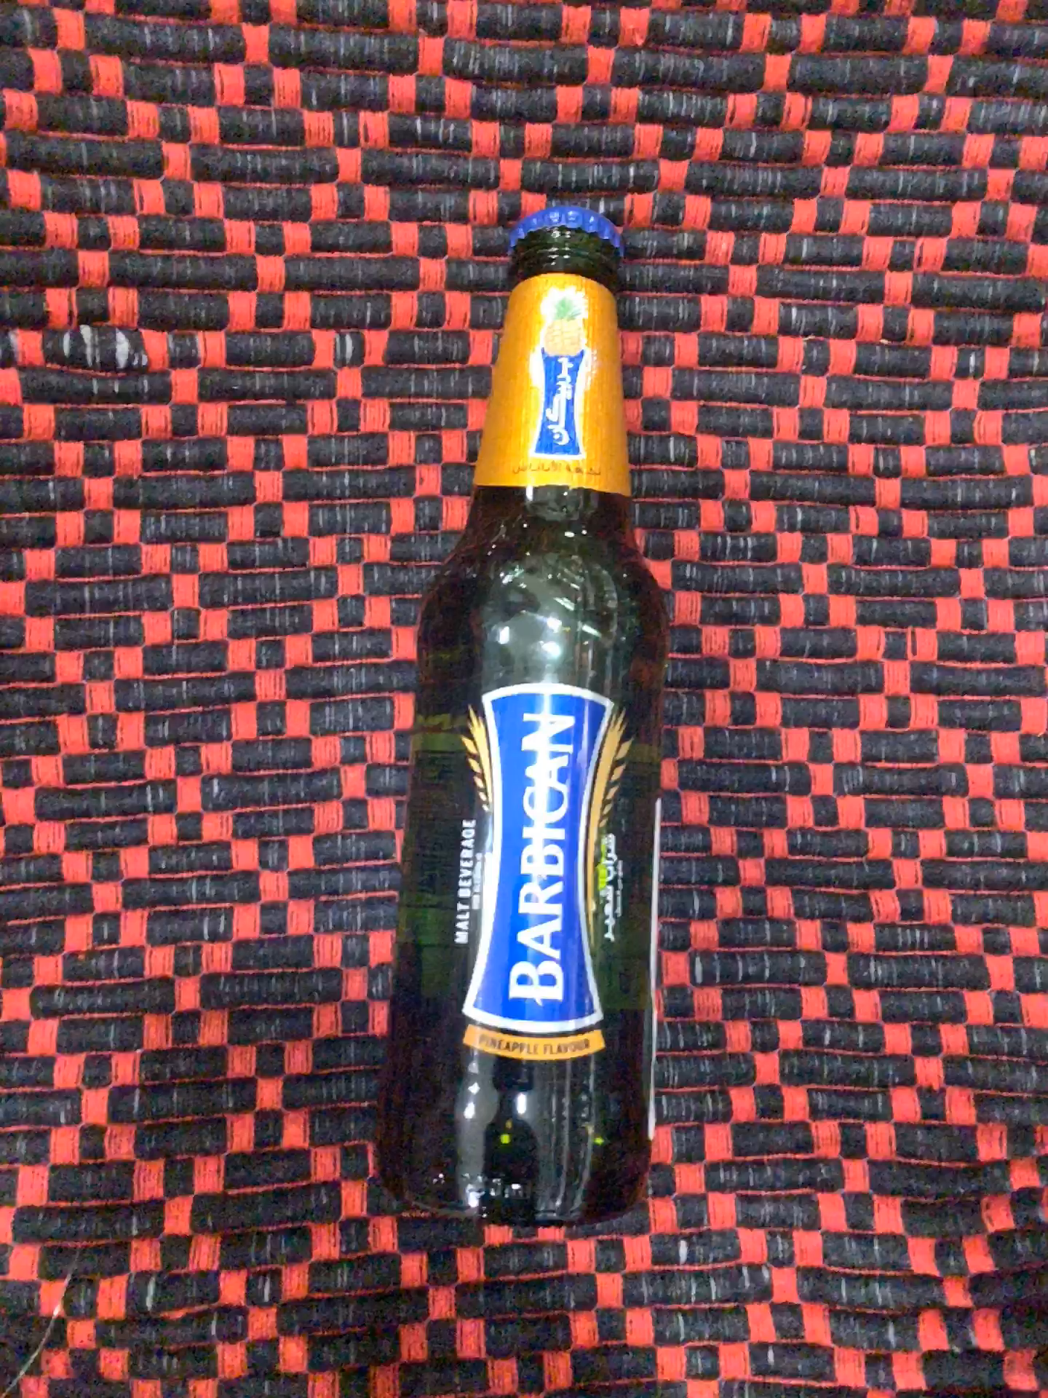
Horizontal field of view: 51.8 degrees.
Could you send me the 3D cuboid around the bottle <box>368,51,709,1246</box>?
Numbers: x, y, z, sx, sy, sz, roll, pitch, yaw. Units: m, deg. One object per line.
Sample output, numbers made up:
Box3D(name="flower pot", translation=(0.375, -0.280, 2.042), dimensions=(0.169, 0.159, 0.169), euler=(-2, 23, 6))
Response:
Box3D(name="bottle", translation=(0.005, -0.018, 0.253), dimensions=(0.060, 0.070, 0.250), euler=(3, 76, -4))
